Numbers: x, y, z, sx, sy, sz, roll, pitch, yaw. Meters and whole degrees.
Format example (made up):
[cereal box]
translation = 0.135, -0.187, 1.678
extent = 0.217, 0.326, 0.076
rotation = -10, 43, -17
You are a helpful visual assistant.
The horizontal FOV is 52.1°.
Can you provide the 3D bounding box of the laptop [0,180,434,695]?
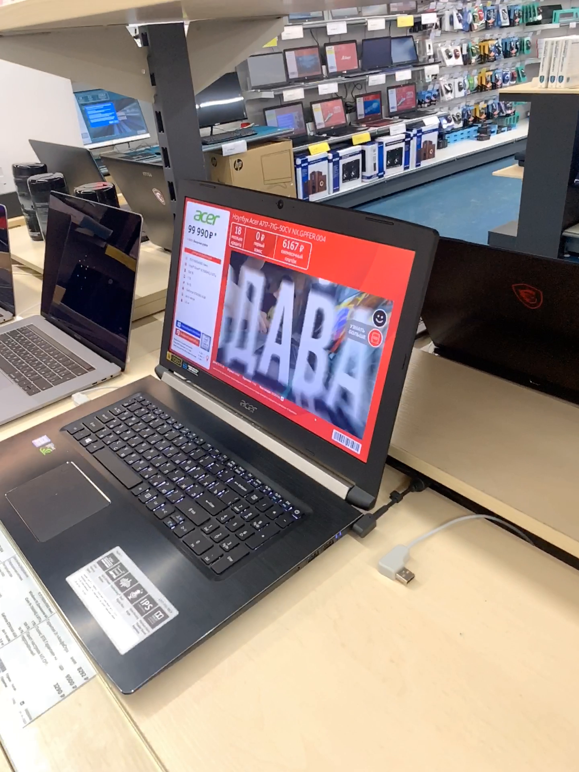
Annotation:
[laptop]
translation = -0.134, -0.022, 0.610
extent = 0.362, 0.248, 0.408
rotation = -28, 38, -33
